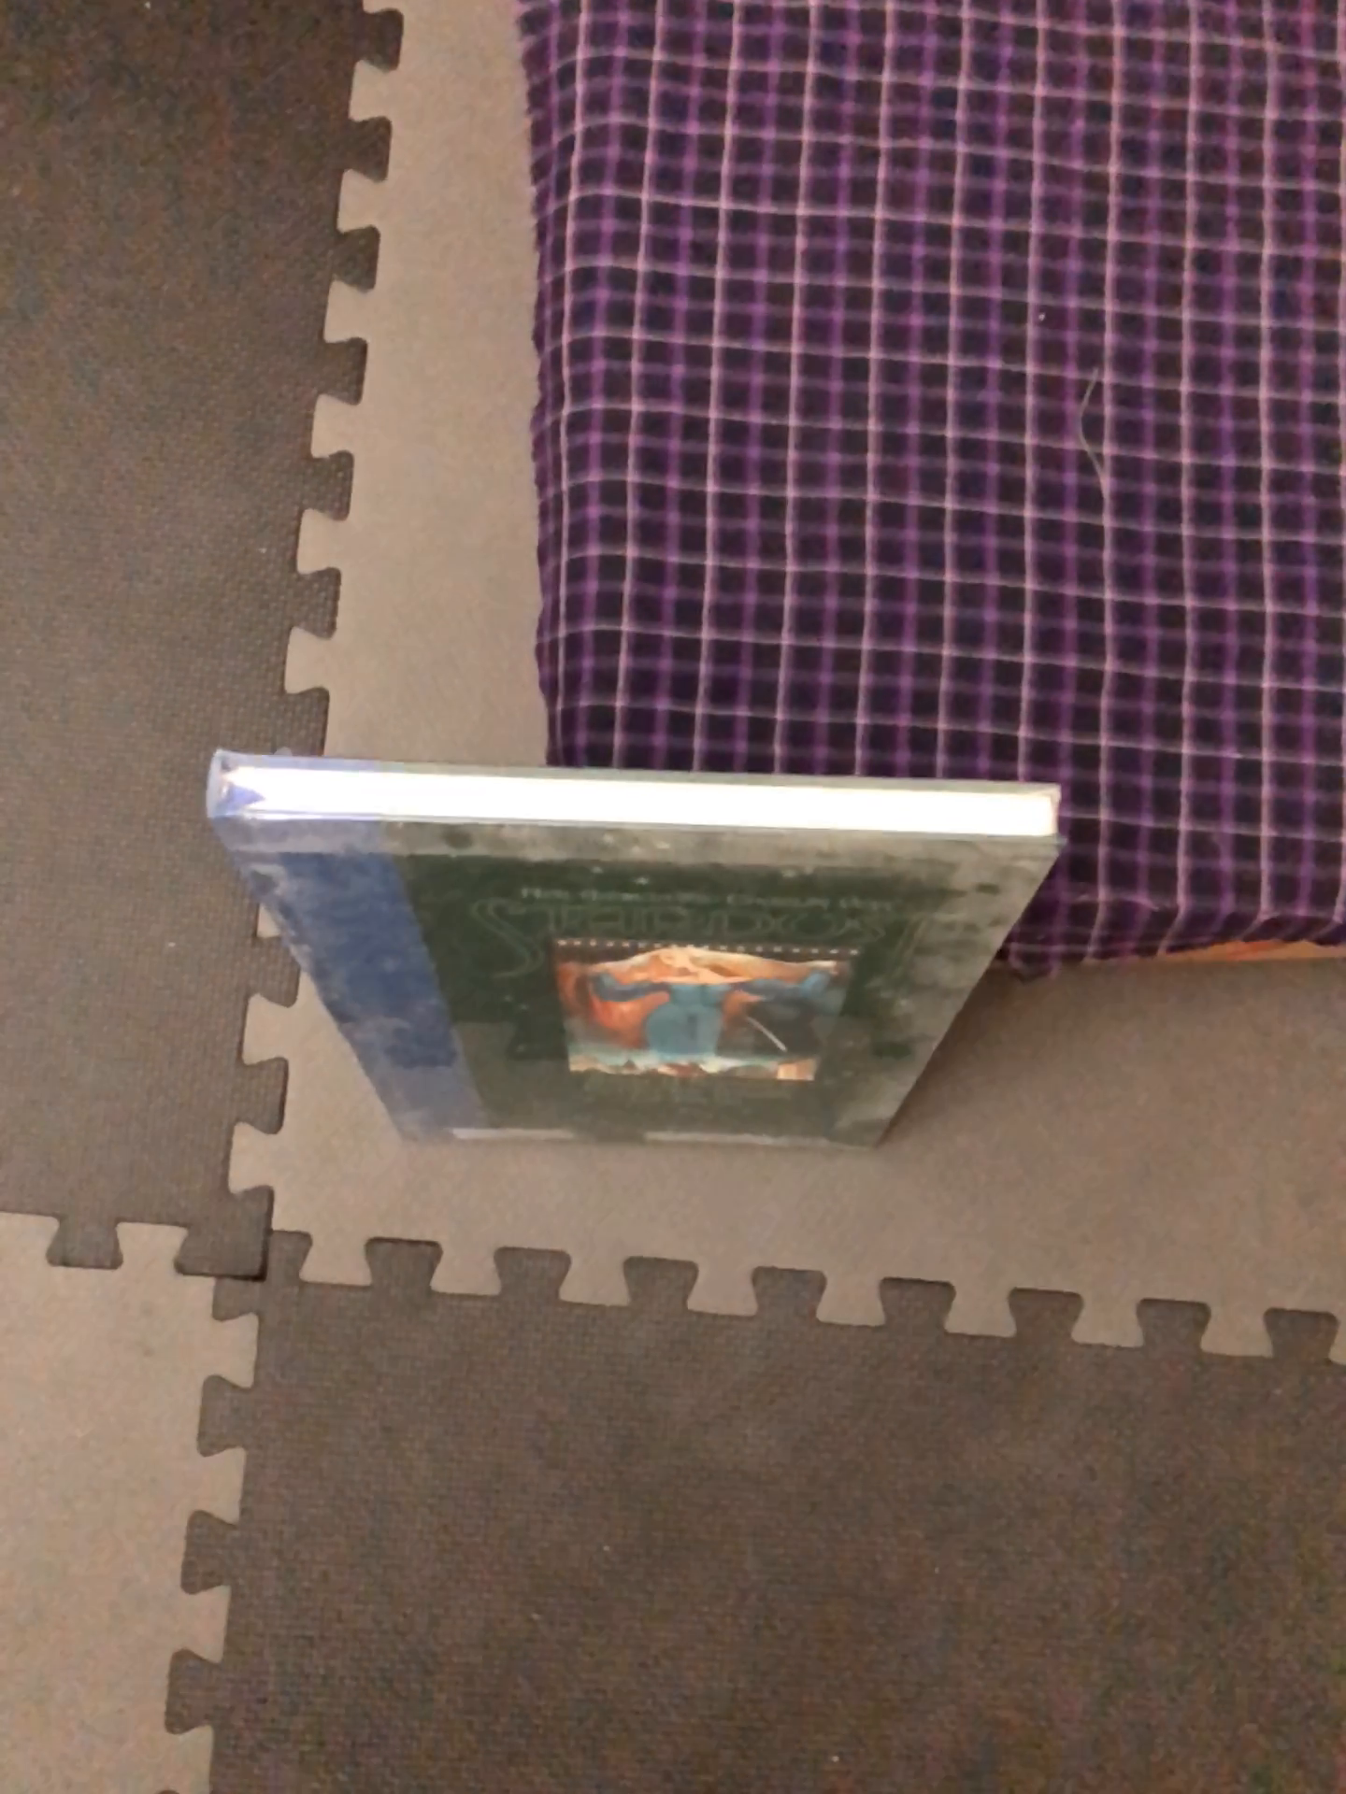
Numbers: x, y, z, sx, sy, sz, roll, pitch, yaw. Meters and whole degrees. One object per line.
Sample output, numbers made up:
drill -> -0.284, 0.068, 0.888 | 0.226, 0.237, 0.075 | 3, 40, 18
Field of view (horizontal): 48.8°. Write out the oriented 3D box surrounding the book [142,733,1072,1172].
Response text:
book -> -0.016, 0.040, 0.490 | 0.210, 0.330, 0.020 | 2, 67, 0
